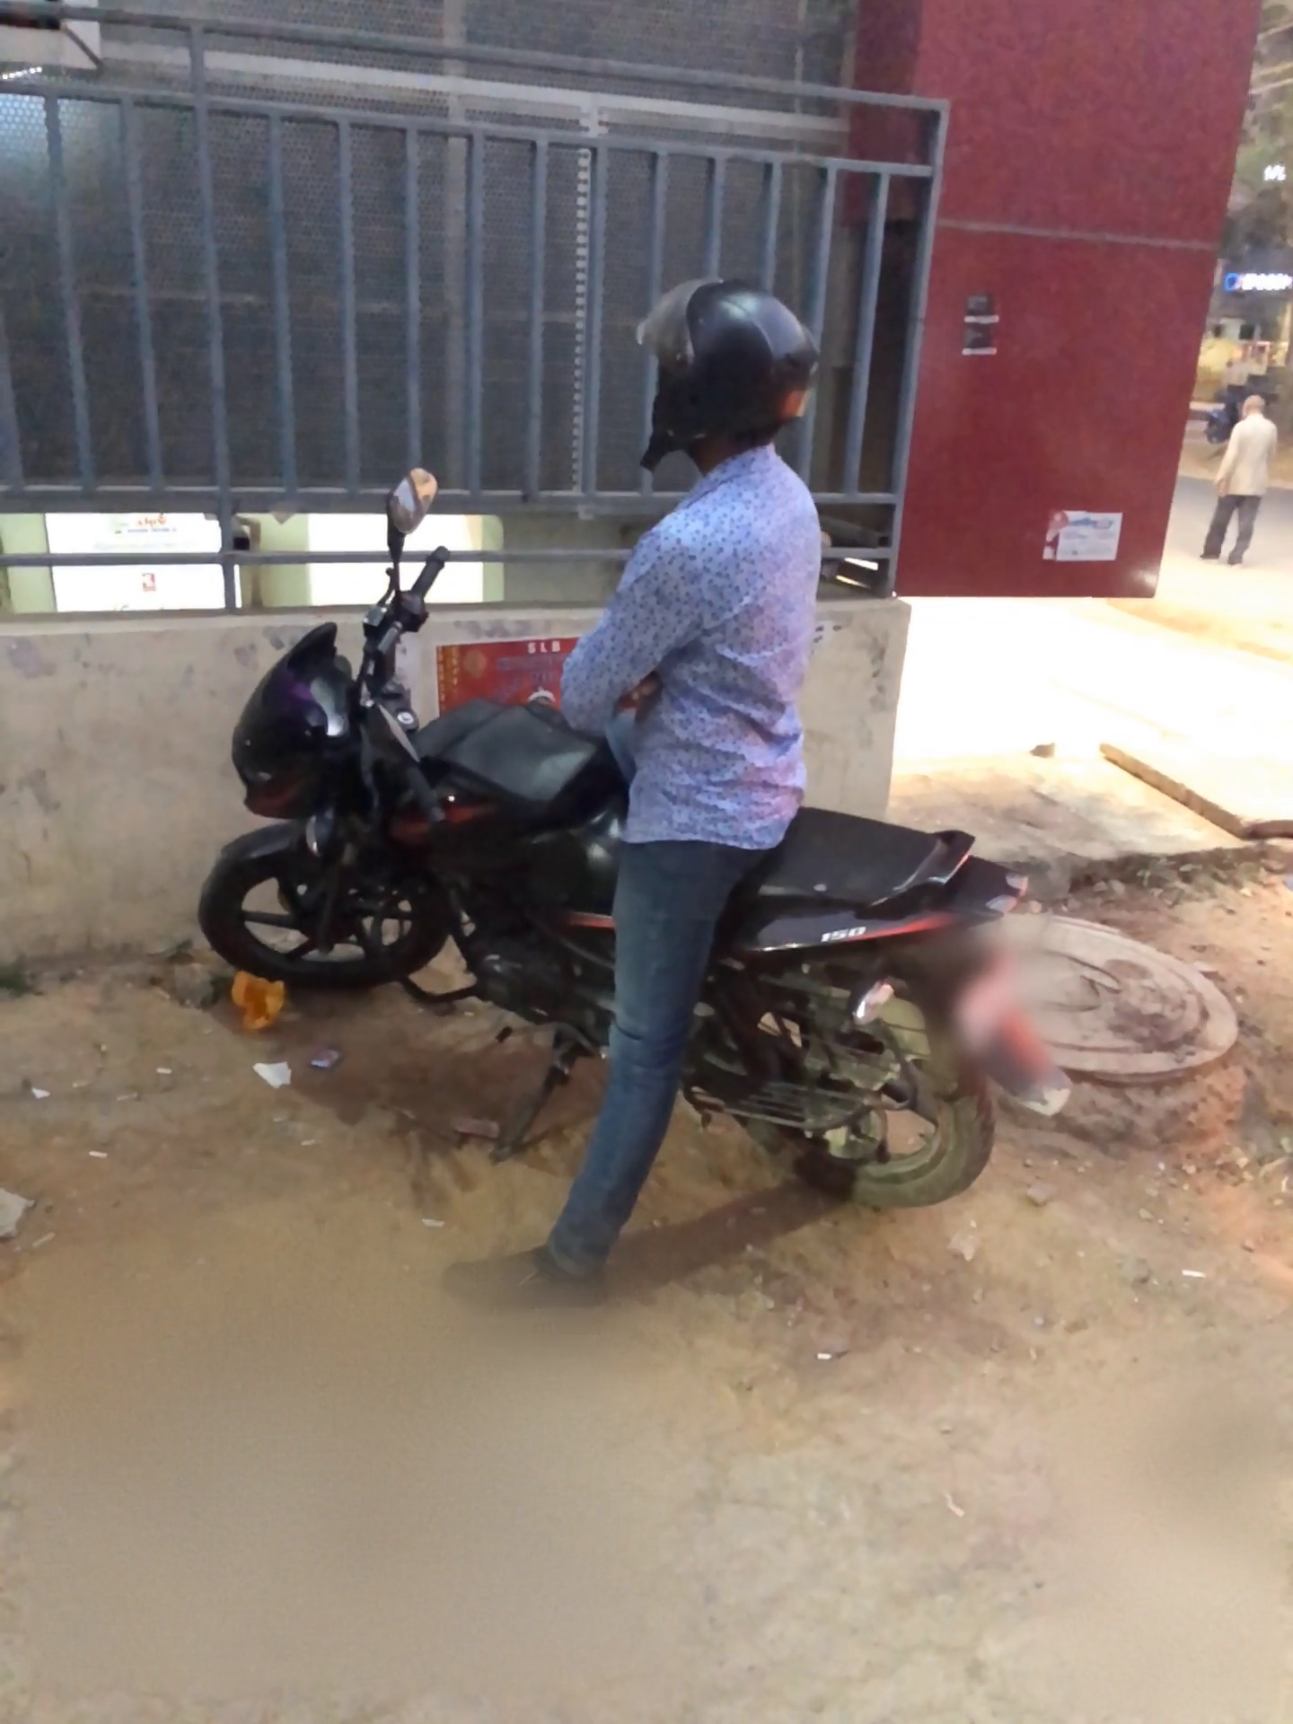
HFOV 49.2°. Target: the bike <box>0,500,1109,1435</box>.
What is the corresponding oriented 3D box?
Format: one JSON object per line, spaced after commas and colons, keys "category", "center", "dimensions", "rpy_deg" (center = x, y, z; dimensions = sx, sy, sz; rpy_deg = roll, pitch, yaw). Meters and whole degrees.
{"category": "bike", "center": [-0.223, 0.048, 2.664], "dimensions": [1.801, 1.145, 0.749], "rpy_deg": [14, 23, 23]}
